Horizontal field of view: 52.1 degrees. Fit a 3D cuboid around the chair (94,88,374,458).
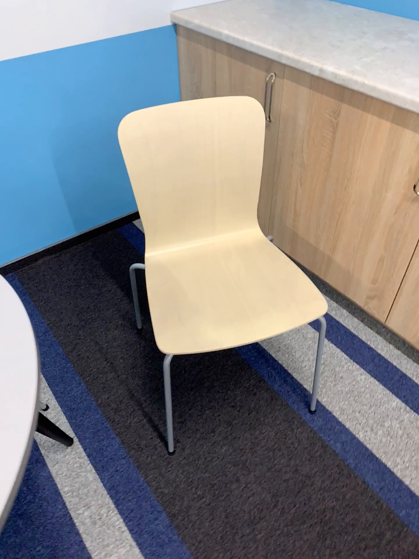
[{"bbox_3d":[0.013,-0.005,1.254,0.476,0.836,0.573,-12,44,-11],"label":"chair"}]
